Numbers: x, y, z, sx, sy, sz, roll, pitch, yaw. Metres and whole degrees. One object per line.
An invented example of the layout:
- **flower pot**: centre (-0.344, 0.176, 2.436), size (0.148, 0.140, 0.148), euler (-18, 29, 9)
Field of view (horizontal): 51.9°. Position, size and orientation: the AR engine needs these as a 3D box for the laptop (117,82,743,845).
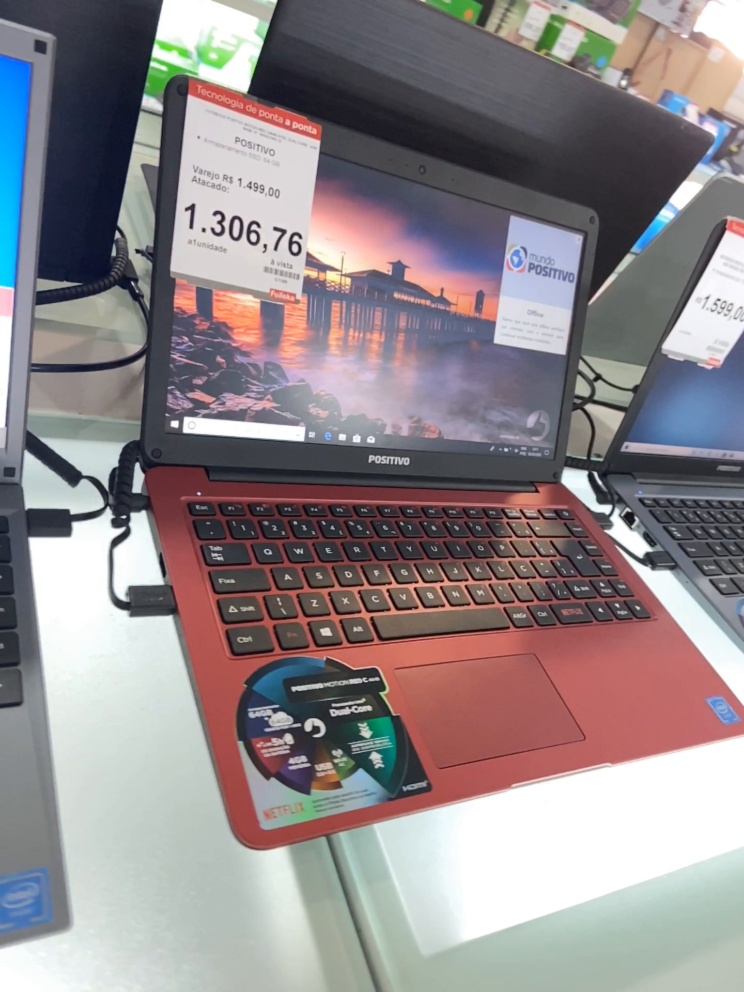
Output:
- **laptop**: centre (0.062, -0.041, 0.428), size (0.321, 0.167, 0.334), euler (2, 41, -32)
